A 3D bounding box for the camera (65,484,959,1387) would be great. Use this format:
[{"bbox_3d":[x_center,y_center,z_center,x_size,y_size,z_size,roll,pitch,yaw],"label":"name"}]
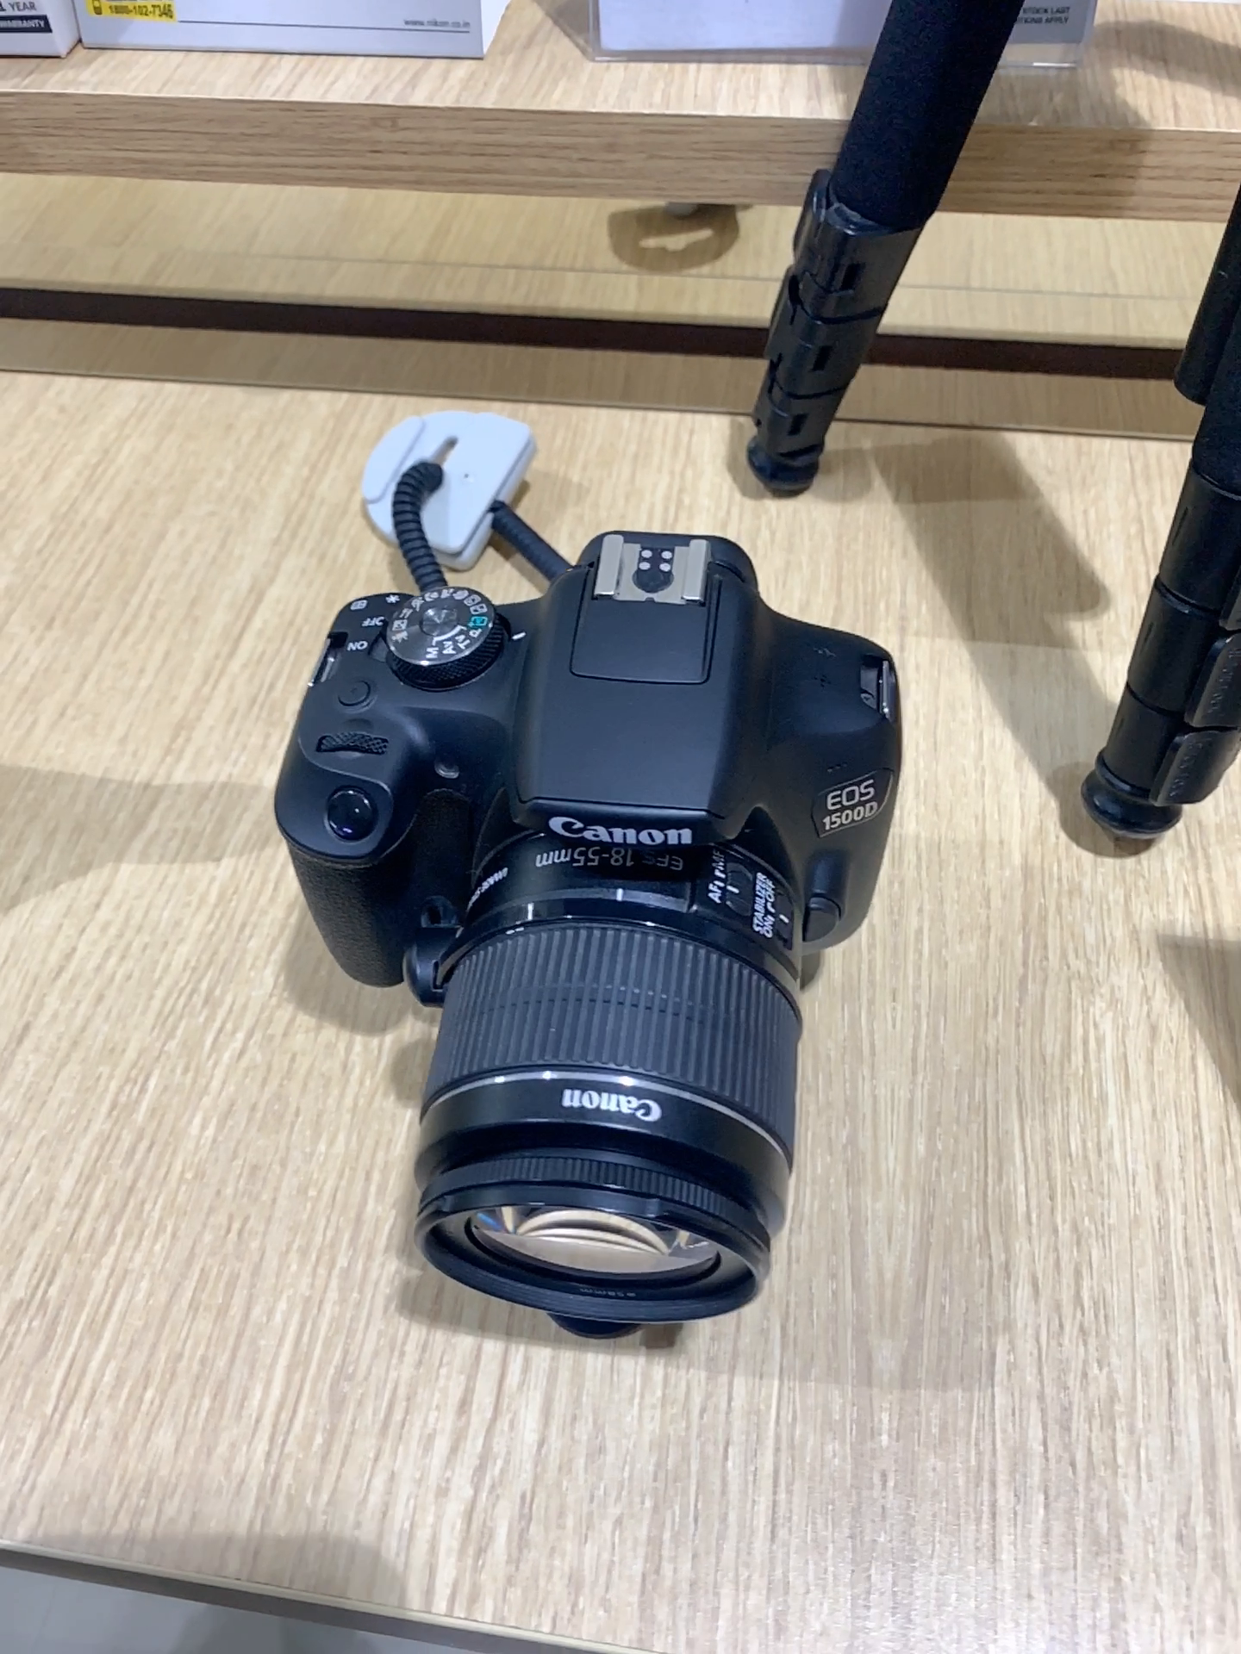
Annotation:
[{"bbox_3d":[-0.007,0.016,0.249,0.121,0.088,0.140,4,52,6],"label":"camera"}]
